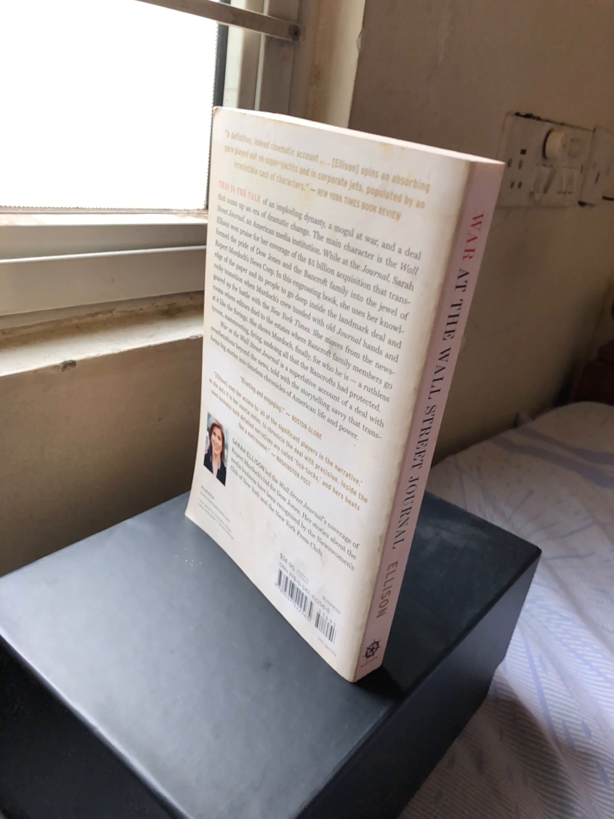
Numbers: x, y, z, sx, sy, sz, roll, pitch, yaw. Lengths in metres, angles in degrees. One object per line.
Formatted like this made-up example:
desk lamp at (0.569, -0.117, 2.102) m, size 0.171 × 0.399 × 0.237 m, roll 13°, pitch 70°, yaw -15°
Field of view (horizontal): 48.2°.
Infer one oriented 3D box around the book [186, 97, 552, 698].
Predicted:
book at (0.003, -0.014, 0.282) m, size 0.030 × 0.199 × 0.150 m, roll -10°, pitch 29°, yaw -35°
